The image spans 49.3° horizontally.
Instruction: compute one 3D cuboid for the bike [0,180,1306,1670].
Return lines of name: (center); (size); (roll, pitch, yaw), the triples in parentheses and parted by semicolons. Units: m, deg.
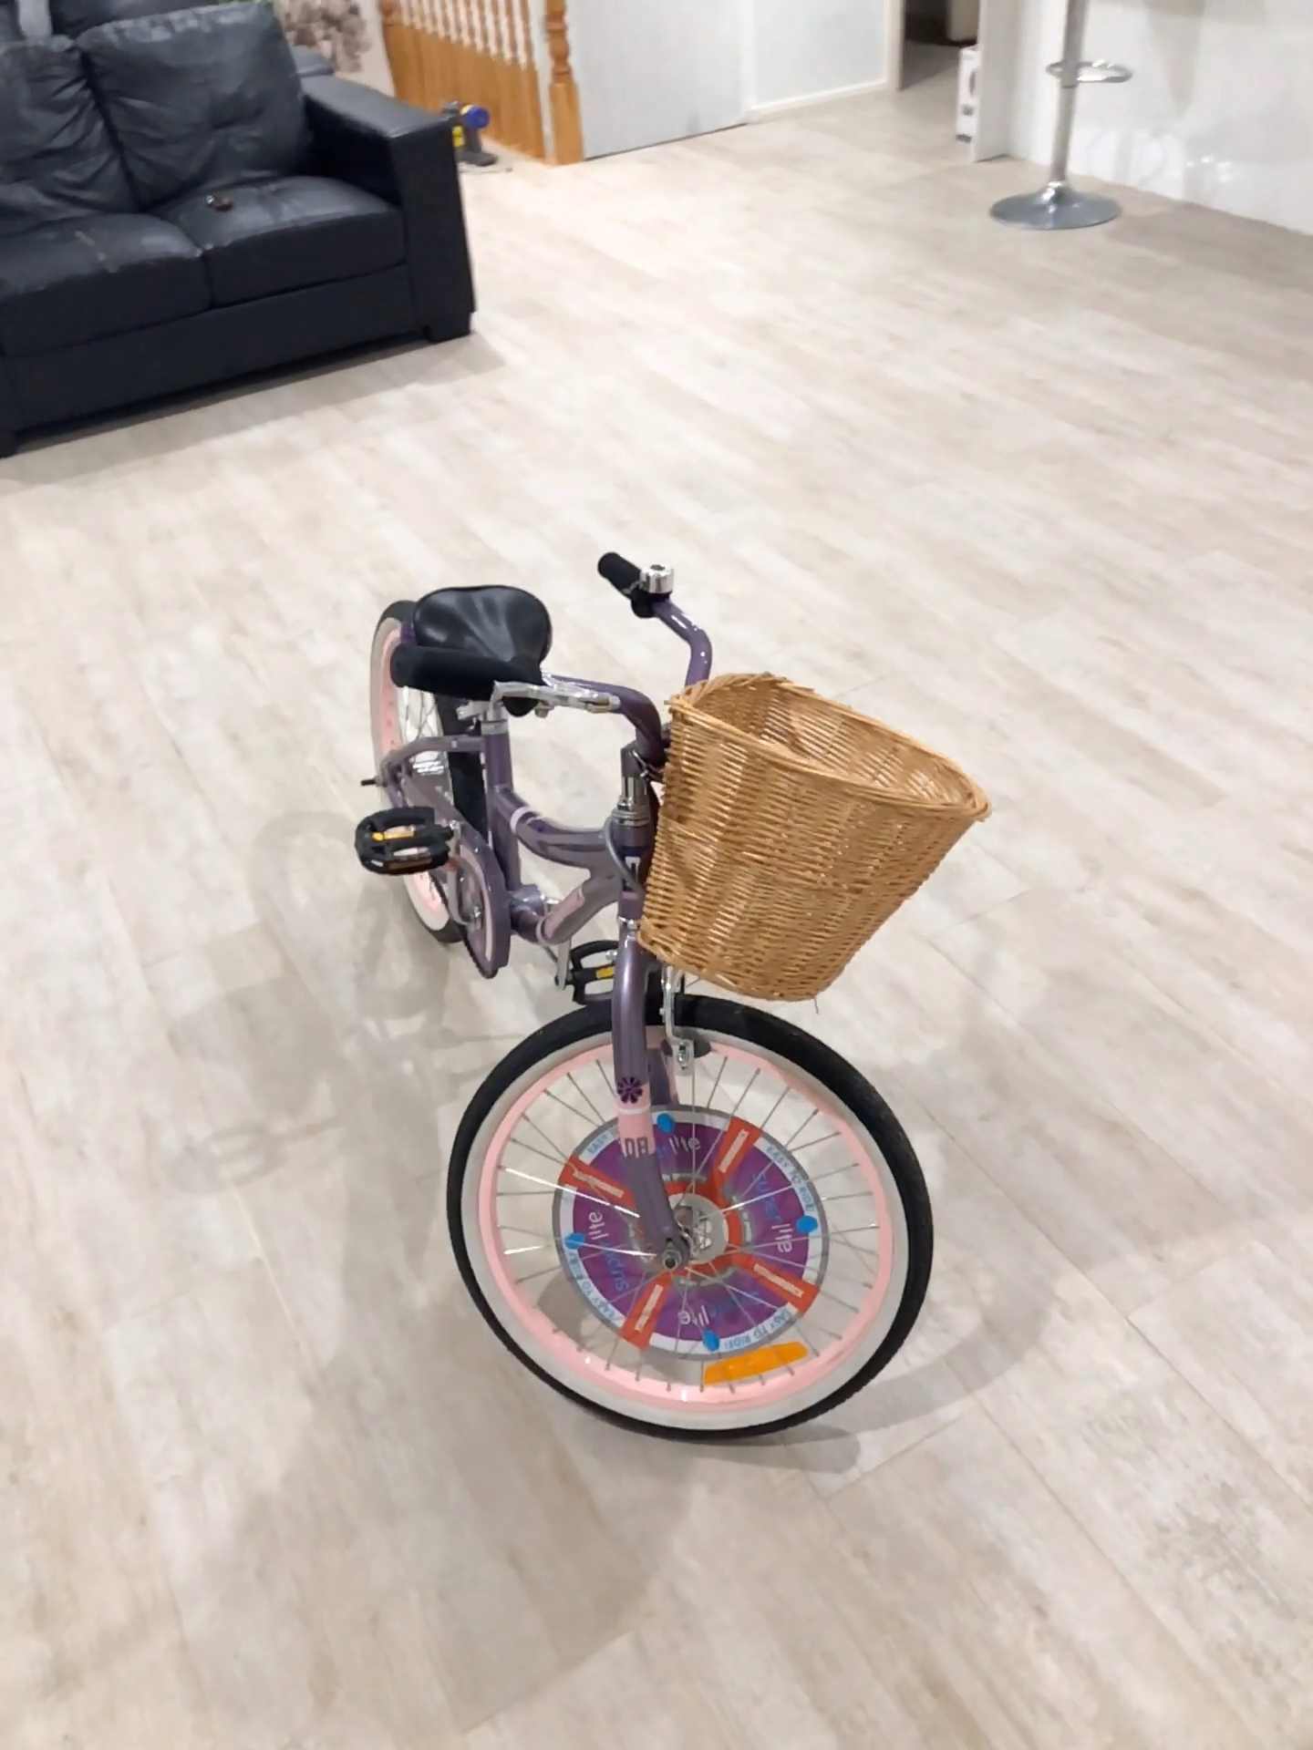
bike: (-0.106, -0.060, 1.633); (0.747, 0.877, 1.221); (-24, 47, -22)
